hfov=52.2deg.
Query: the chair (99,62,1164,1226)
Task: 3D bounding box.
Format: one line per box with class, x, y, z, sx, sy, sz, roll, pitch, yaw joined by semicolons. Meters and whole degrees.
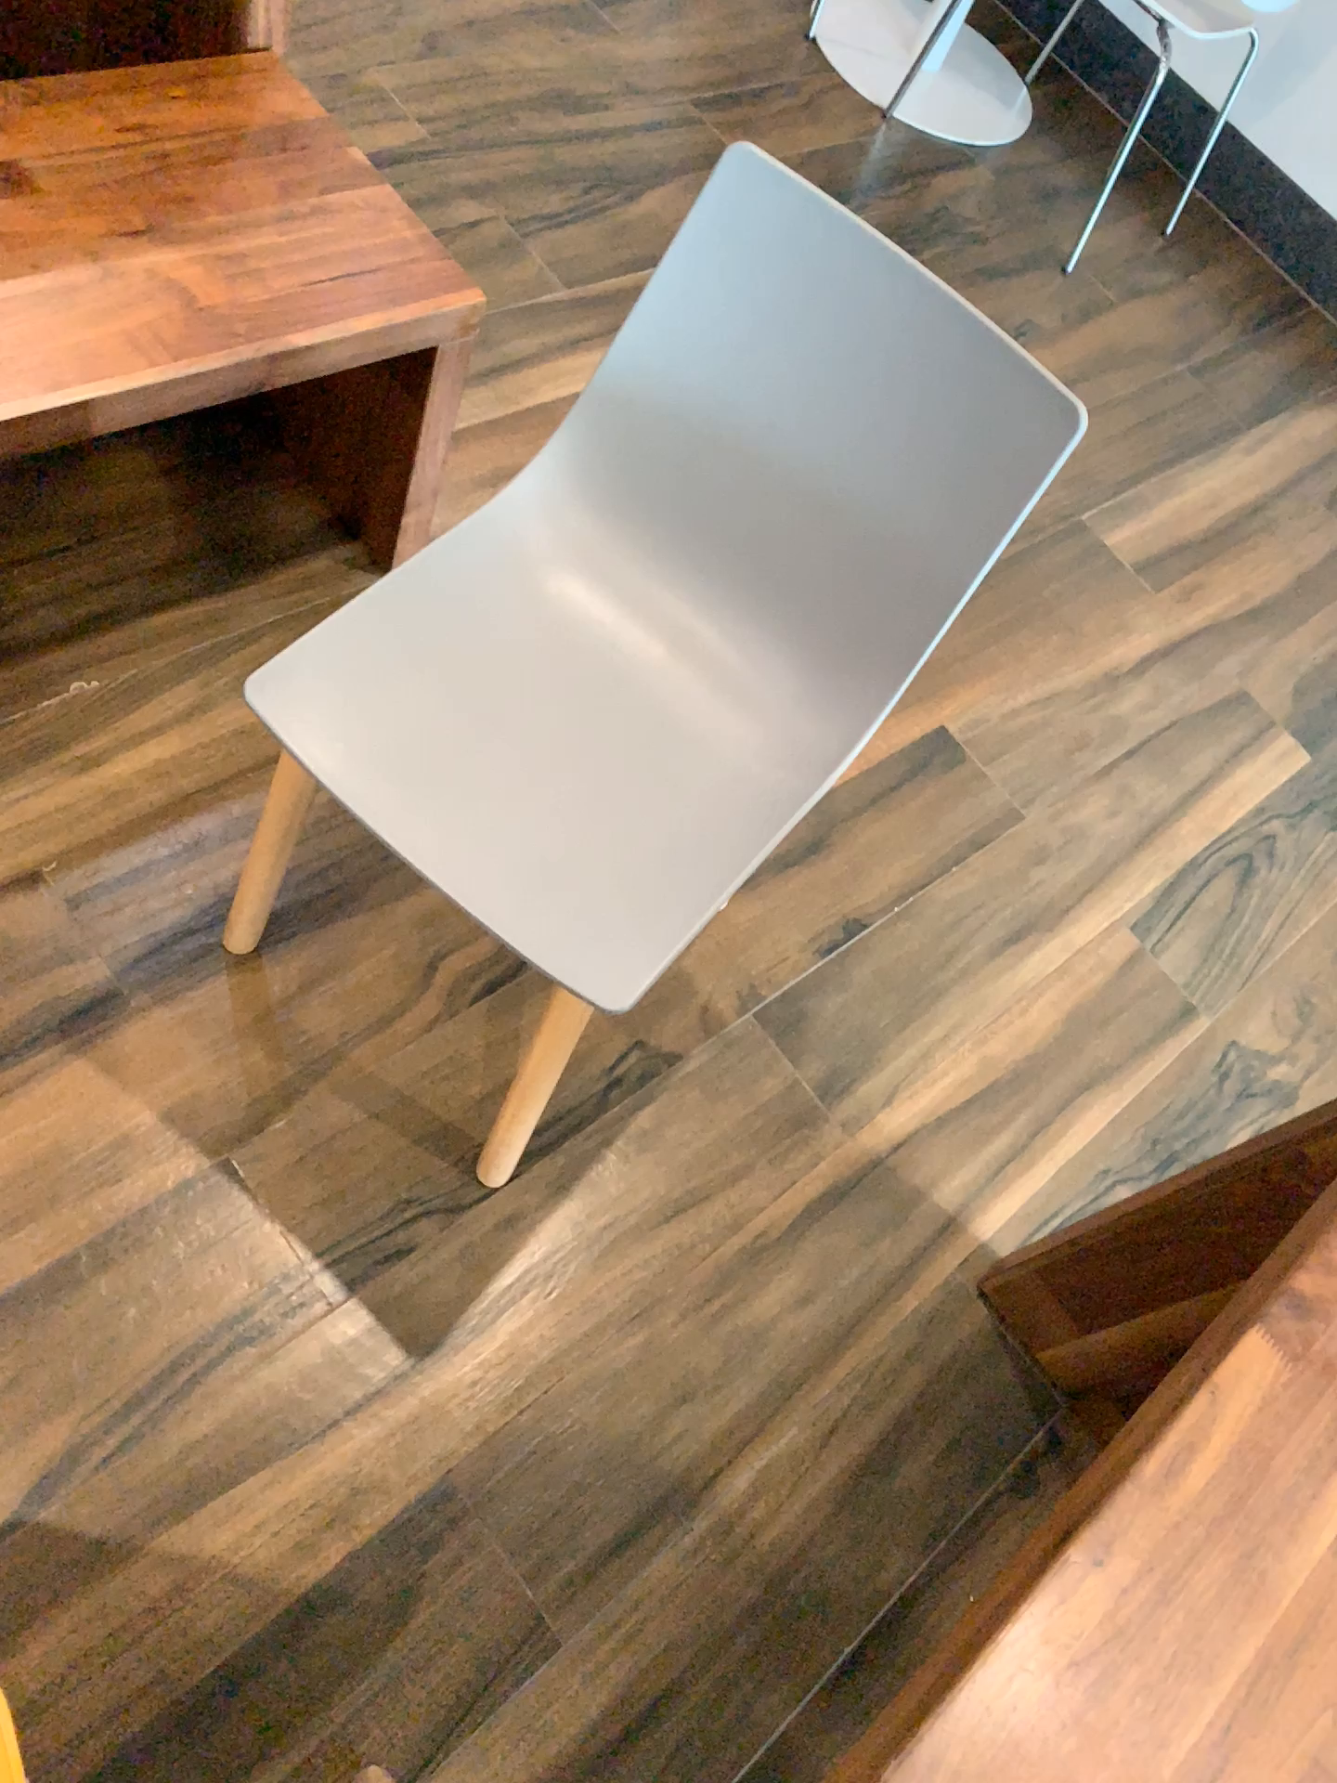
chair;-0.085;-0.176;1.196;0.500;0.696;0.563;43;55;6
